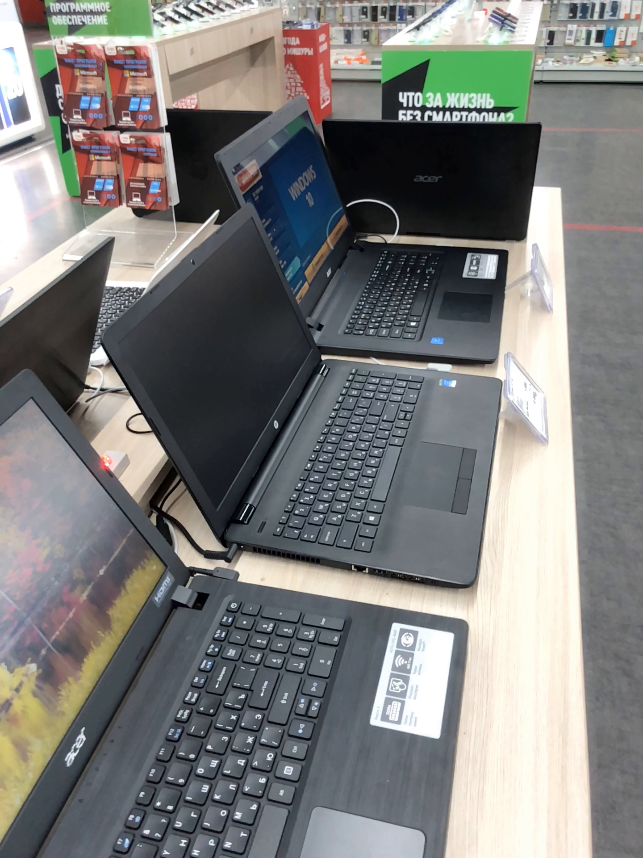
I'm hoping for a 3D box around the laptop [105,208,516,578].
[{"bbox_3d":[0.027,-0.072,0.794,0.333,0.215,0.379,7,36,12],"label":"laptop"}]

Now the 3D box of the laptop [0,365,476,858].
[{"bbox_3d":[-0.088,0.159,0.455,0.350,0.226,0.361,6,34,13],"label":"laptop"}]

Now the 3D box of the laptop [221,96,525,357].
[{"bbox_3d":[0.105,-0.350,1.139,0.395,0.267,0.398,7,36,15],"label":"laptop"}]
